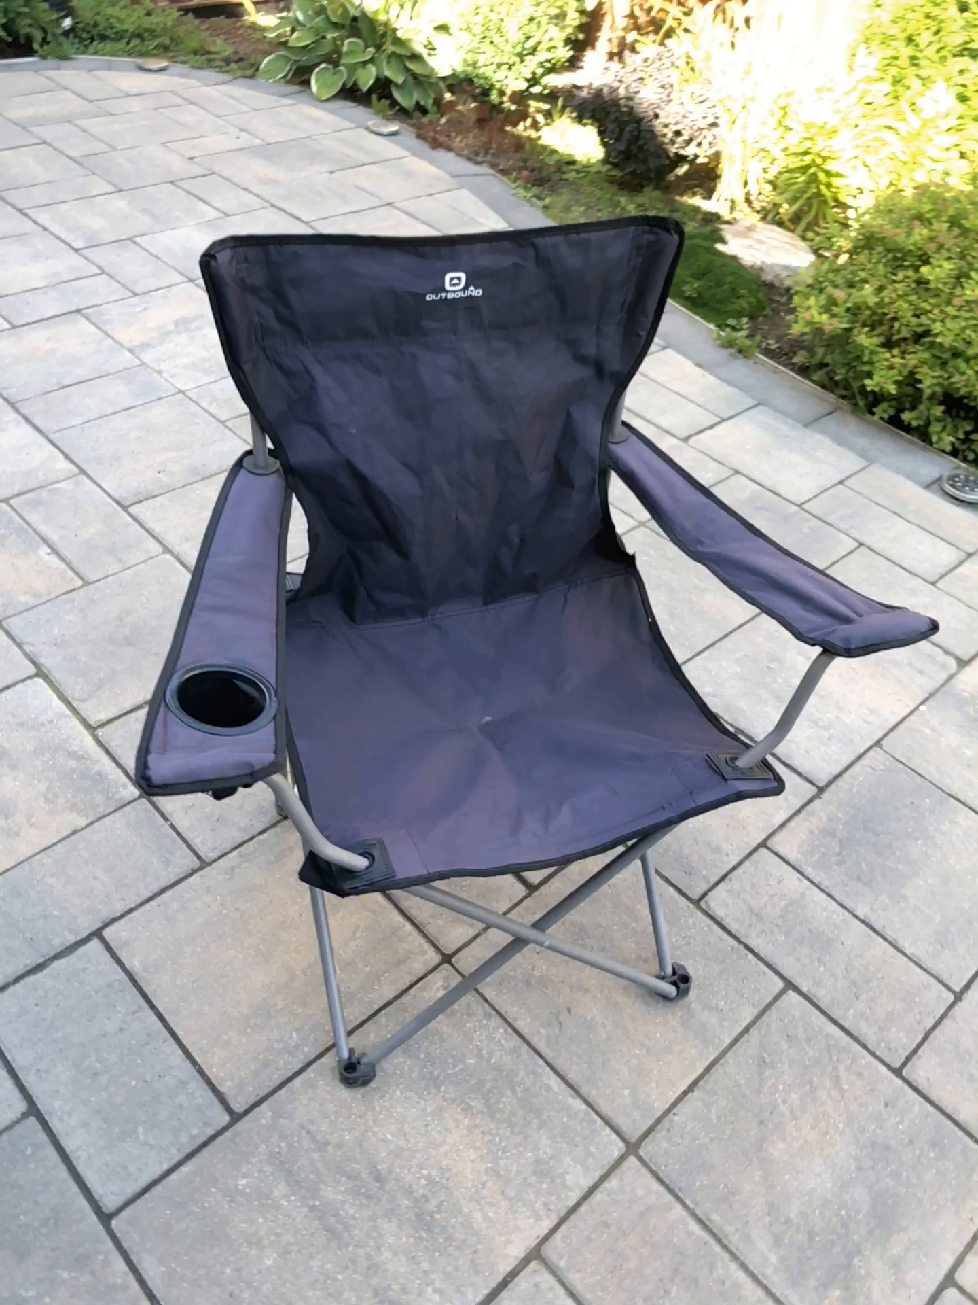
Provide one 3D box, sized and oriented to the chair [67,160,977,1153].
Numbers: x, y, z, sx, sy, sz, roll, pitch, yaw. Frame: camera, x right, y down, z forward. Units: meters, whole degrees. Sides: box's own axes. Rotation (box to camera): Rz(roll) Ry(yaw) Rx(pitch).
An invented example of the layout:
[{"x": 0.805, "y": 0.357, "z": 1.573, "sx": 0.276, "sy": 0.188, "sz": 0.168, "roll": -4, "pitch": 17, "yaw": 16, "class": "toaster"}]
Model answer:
[{"x": -0.011, "y": -0.005, "z": 1.173, "sx": 0.690, "sy": 0.817, "sz": 0.572, "roll": -9, "pitch": 44, "yaw": -17, "class": "chair"}]
